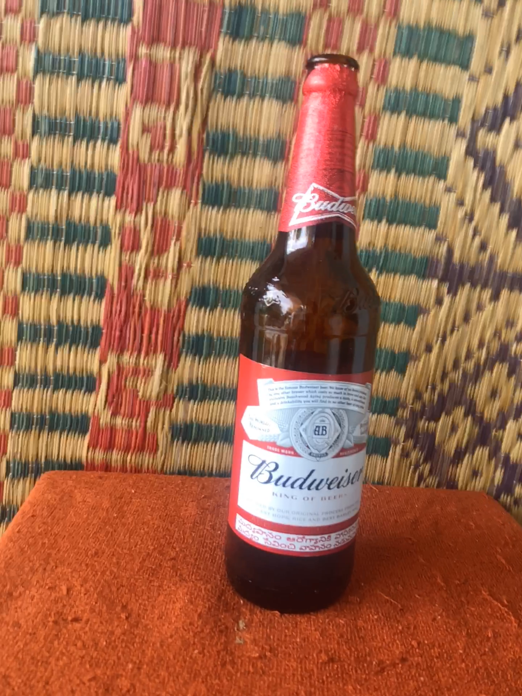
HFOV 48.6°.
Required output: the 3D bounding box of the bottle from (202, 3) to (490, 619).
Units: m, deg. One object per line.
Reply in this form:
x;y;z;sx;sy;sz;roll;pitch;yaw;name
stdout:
0.027;-0.006;0.280;0.090;0.259;0.070;4;13;-7;bottle
